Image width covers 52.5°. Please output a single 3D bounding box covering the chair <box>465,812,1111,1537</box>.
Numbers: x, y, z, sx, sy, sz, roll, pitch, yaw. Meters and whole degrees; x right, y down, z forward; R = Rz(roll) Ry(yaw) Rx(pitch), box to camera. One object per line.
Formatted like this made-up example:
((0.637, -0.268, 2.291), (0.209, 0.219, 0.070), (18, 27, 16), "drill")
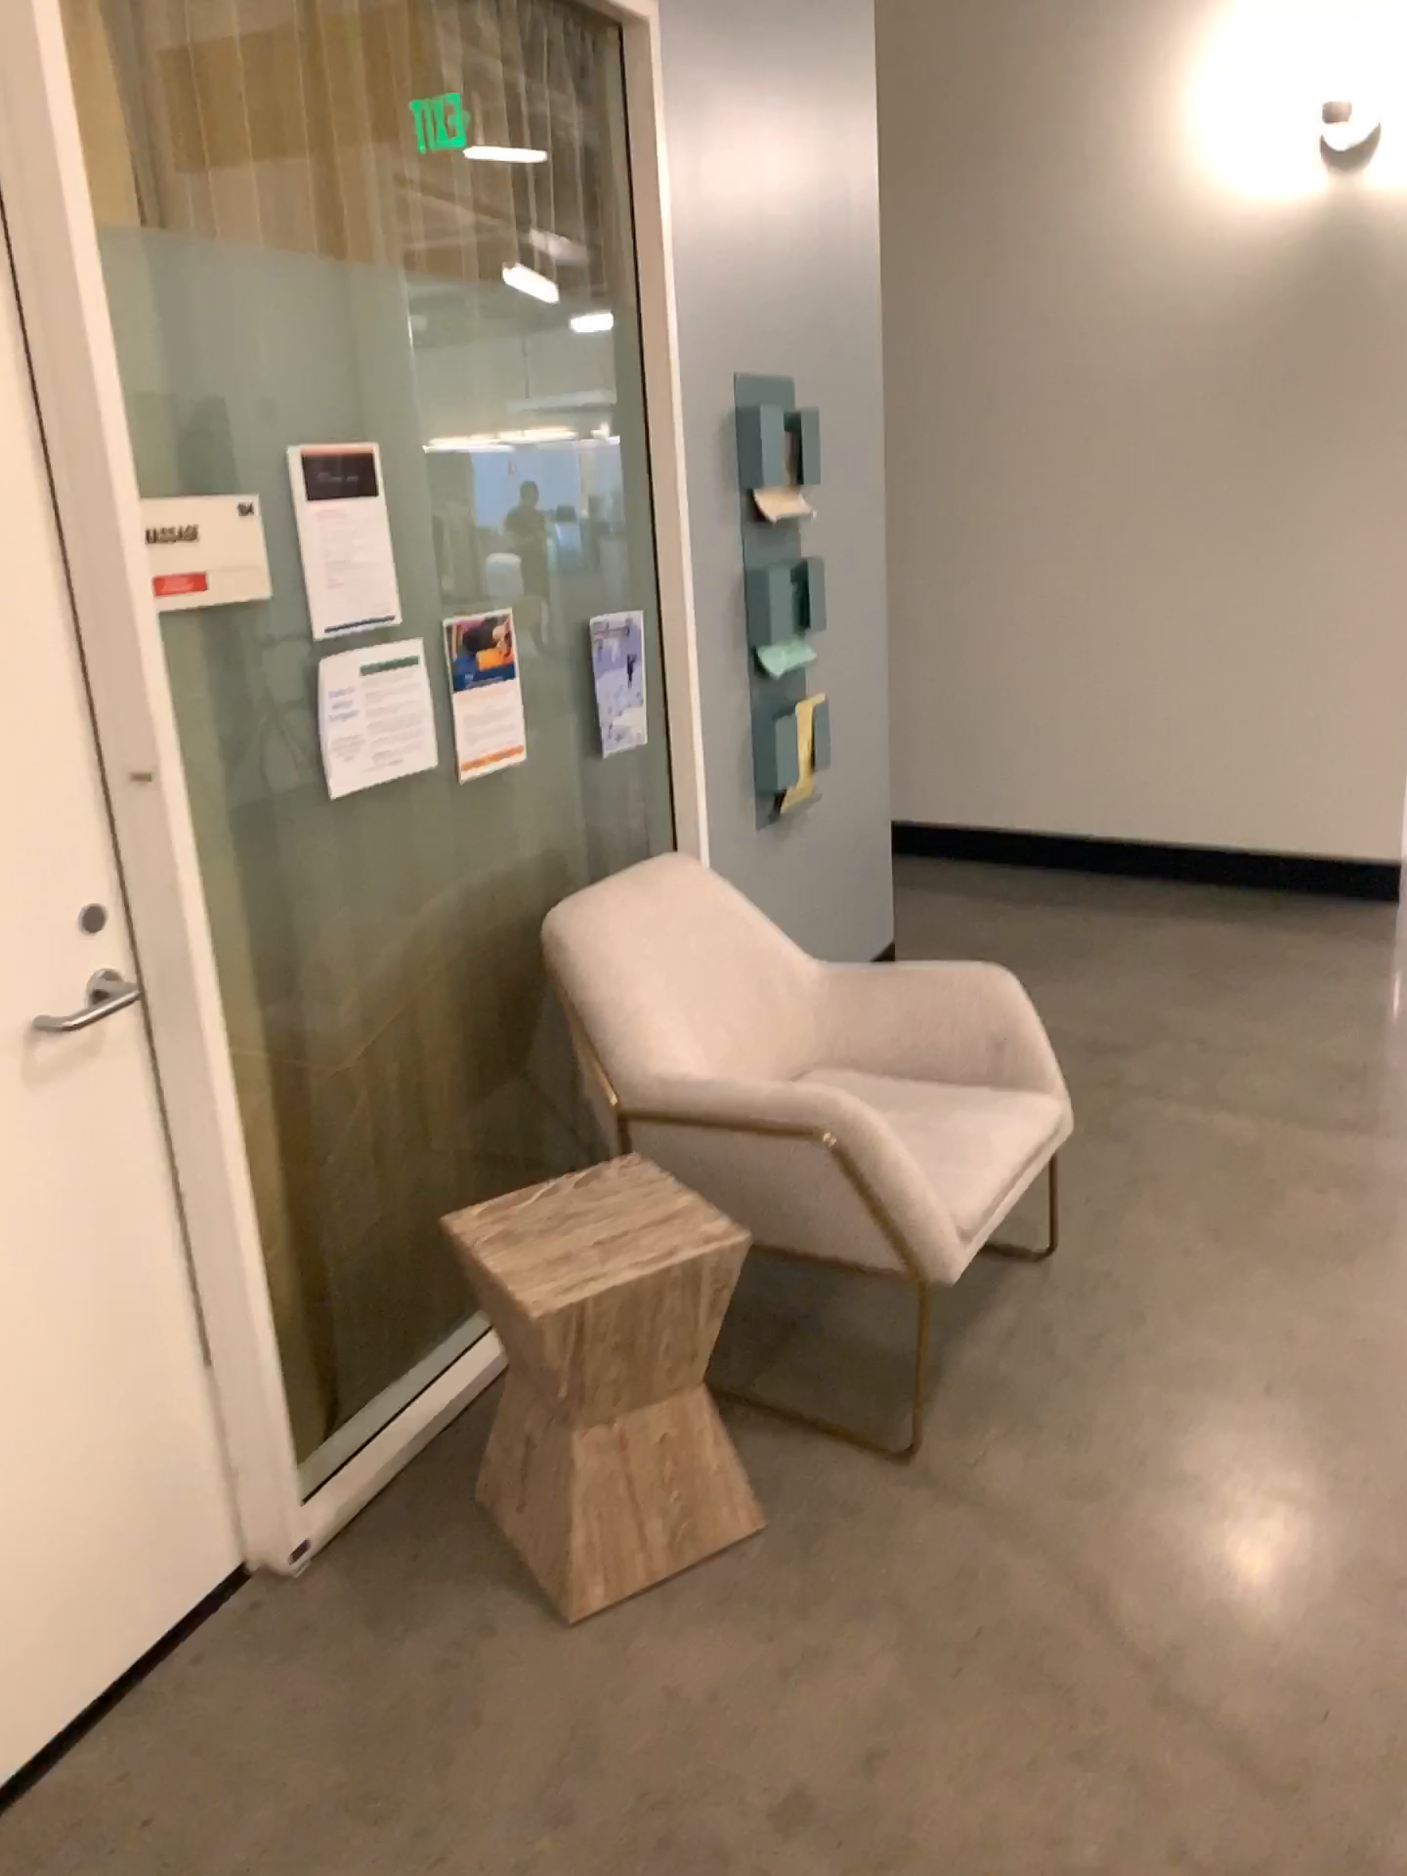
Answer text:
((0.200, 0.329, 2.598), (0.871, 0.926, 0.782), (6, 19, 28), "chair")
